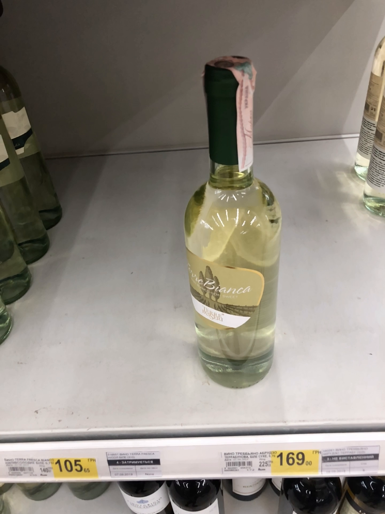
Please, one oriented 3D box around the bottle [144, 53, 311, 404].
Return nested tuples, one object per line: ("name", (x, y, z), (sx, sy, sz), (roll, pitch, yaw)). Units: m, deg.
("bottle", (0.032, 0.000, 0.326), (0.070, 0.269, 0.070), (-3, 41, 3))
